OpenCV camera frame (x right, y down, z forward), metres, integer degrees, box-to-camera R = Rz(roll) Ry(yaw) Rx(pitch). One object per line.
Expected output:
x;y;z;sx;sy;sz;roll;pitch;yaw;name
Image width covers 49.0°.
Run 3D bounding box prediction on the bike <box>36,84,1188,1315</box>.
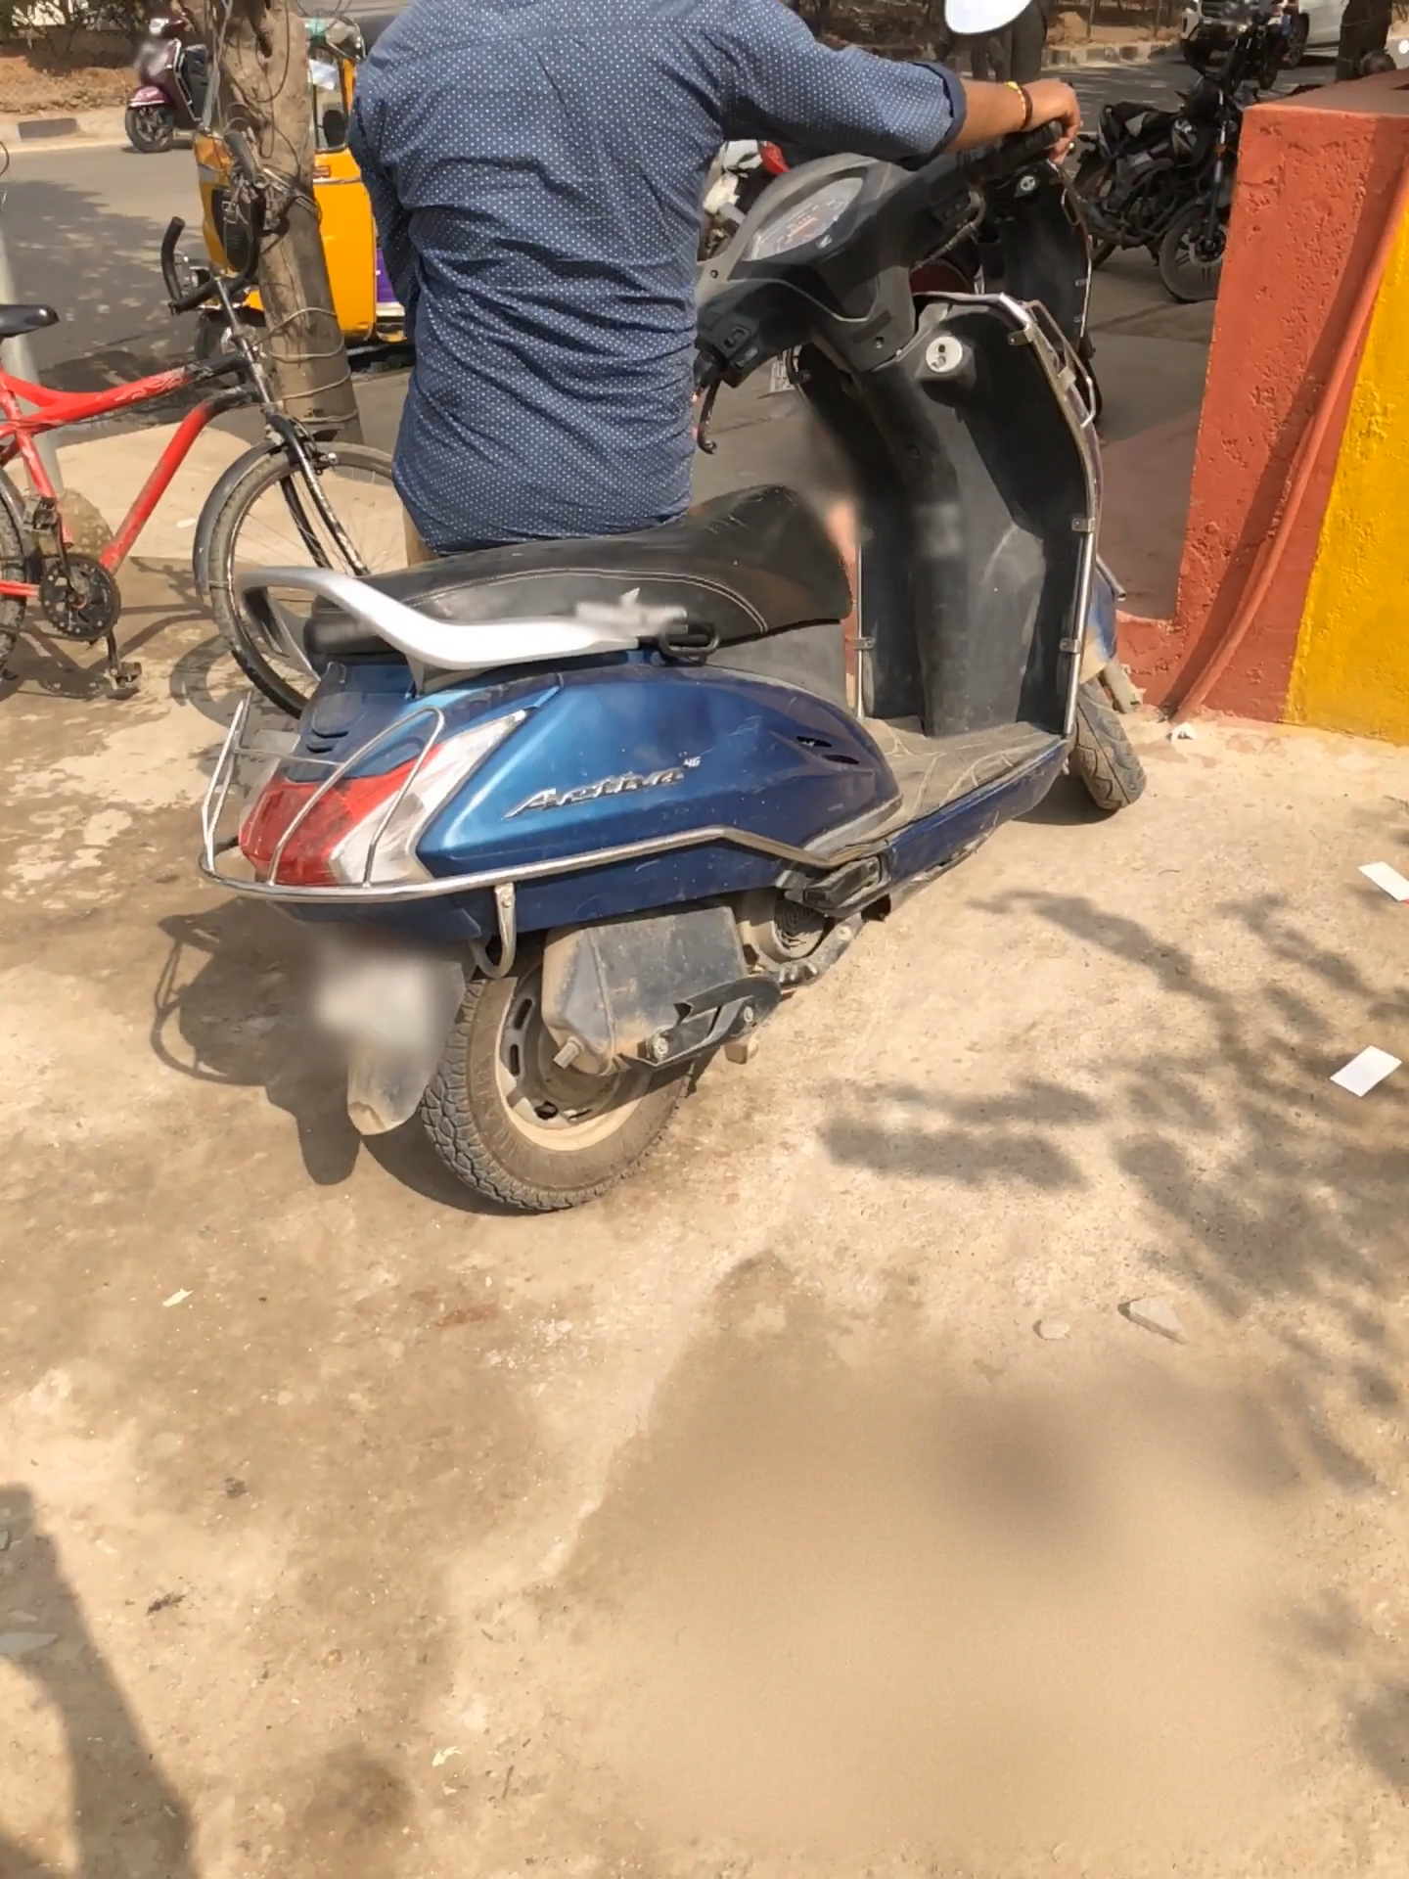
0.033;-0.517;2.291;0.624;1.188;1.643;21;38;29;bike
